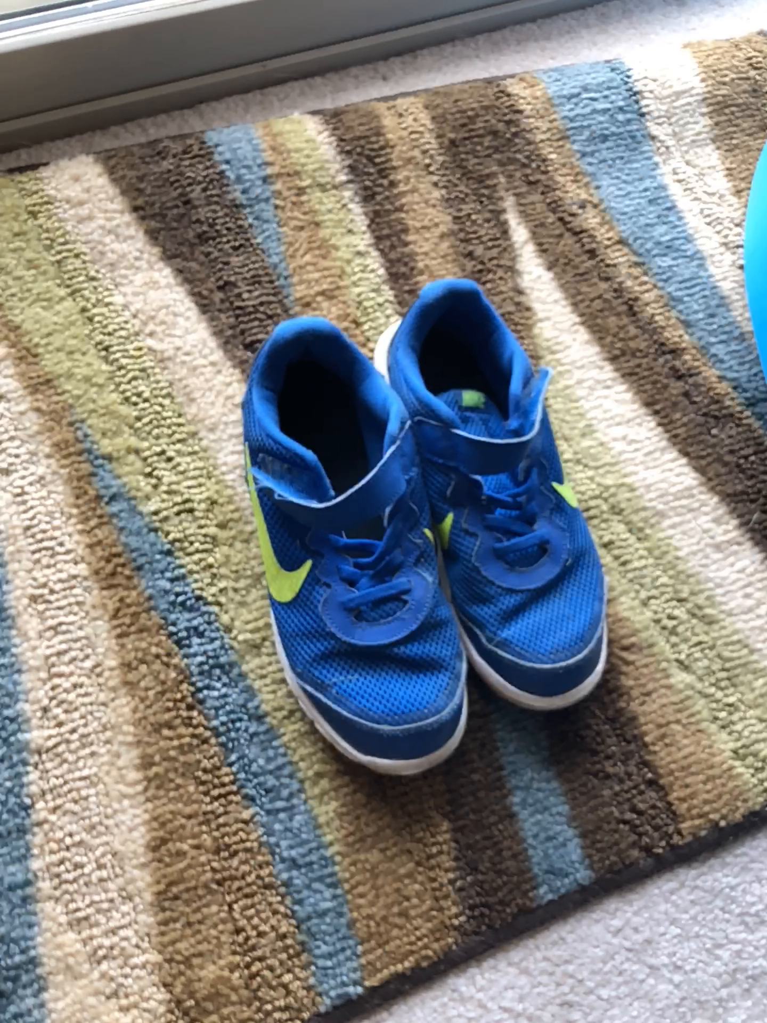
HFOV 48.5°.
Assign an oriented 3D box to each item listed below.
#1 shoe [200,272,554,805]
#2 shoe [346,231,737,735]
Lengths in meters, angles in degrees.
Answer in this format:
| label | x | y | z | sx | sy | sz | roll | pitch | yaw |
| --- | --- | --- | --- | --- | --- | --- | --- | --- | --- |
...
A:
| label | x | y | z | sx | sy | sz | roll | pitch | yaw |
| --- | --- | --- | --- | --- | --- | --- | --- | --- | --- |
| shoe | -0.013 | 0.010 | 0.417 | 0.102 | 0.075 | 0.233 | -12 | 73 | -14 |
| shoe | 0.069 | -0.017 | 0.440 | 0.103 | 0.075 | 0.231 | -15 | 74 | -14 |
